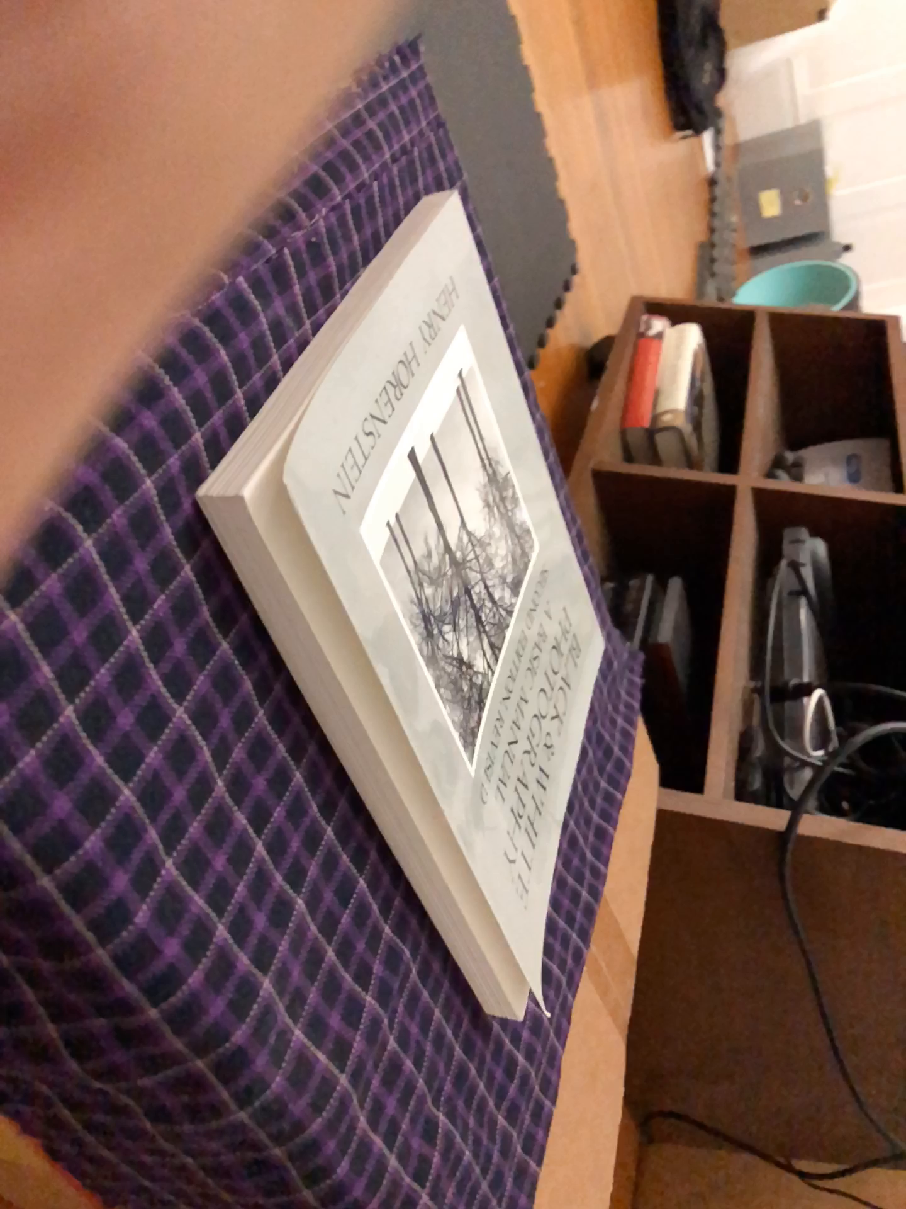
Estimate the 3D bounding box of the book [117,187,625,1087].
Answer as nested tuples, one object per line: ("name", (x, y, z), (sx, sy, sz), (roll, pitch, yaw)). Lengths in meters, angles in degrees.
("book", (0.005, 0.011, 0.369), (0.211, 0.030, 0.250), (-69, 144, -46))
